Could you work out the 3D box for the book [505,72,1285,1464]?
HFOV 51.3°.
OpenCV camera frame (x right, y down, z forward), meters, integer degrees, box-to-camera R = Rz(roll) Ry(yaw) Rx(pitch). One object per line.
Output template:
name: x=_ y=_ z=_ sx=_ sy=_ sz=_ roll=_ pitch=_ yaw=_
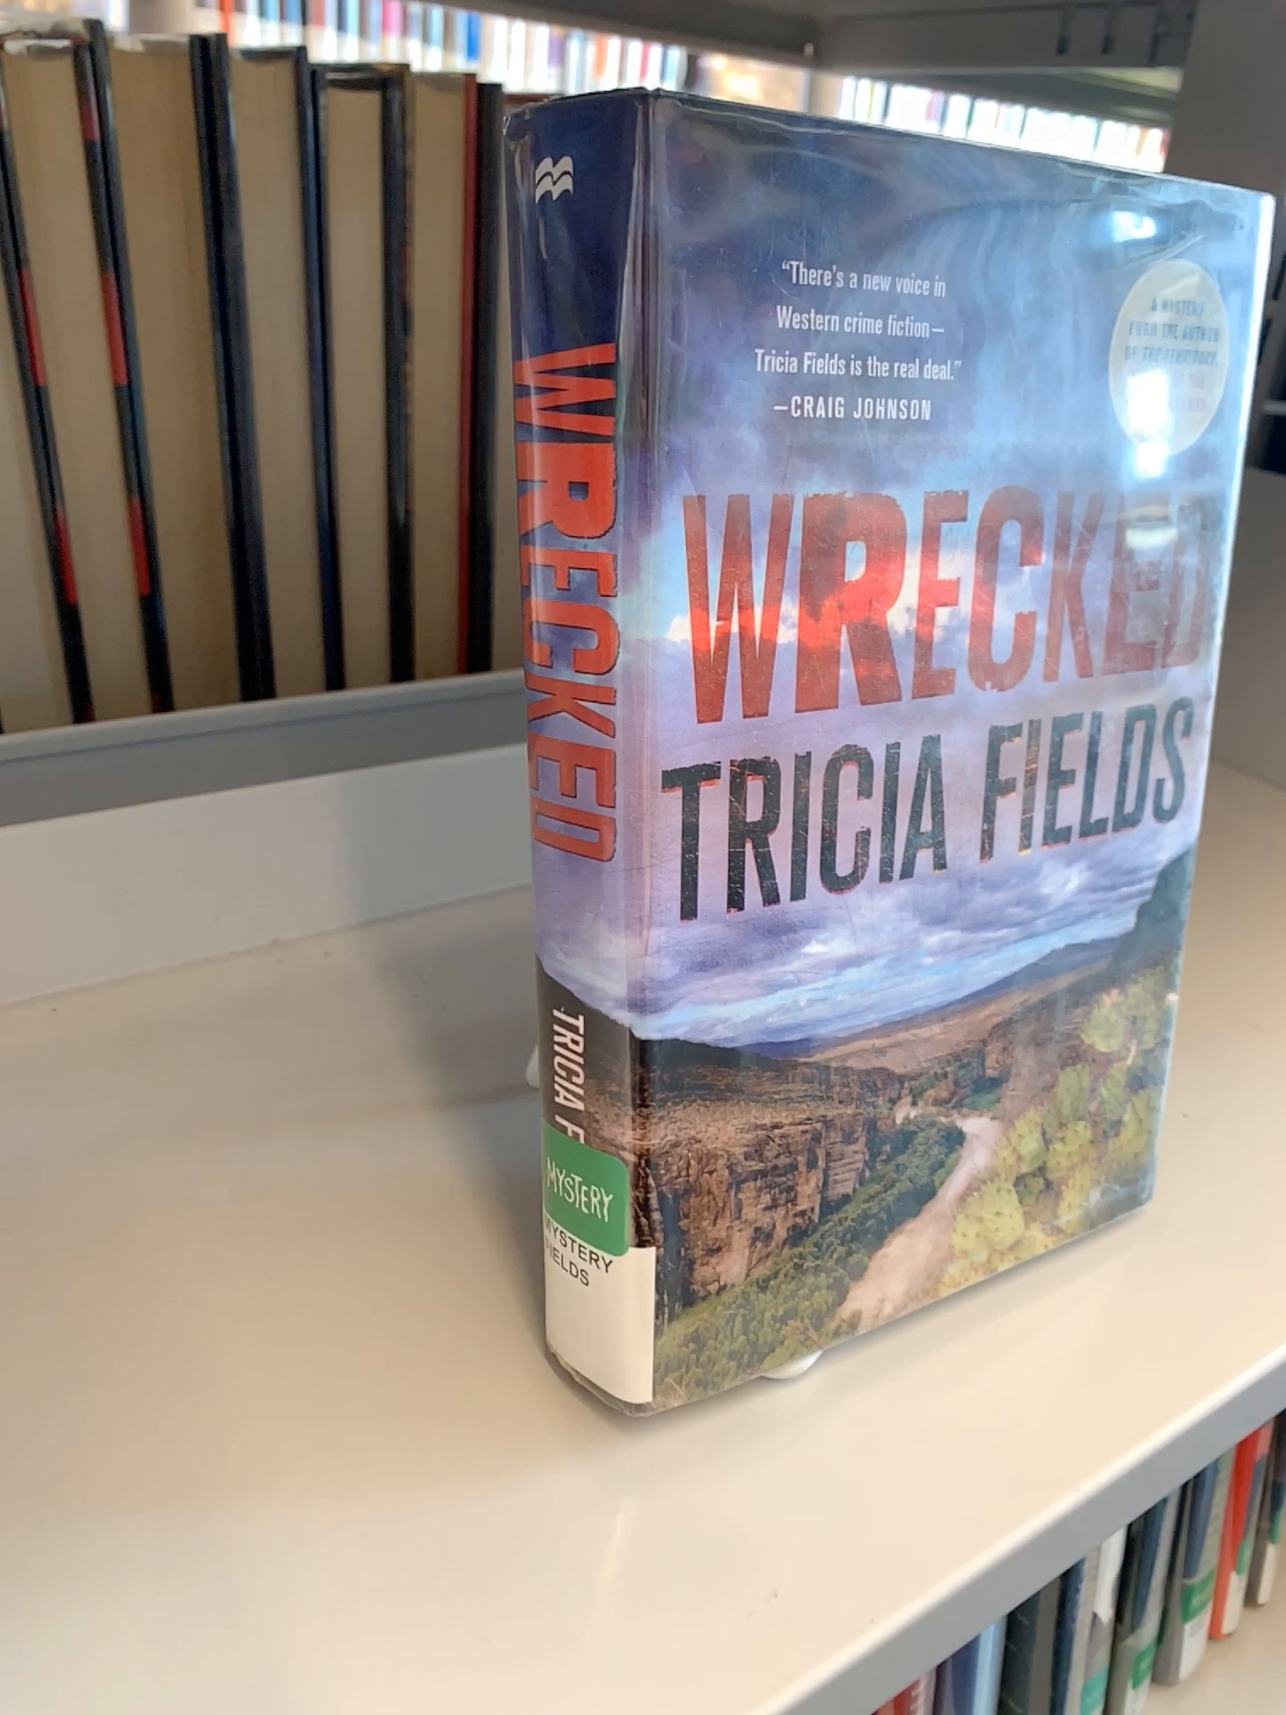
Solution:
book: x=0.052 y=-0.014 z=0.252 sx=0.150 sy=0.213 sz=0.034 roll=-10 pitch=20 yaw=-30
